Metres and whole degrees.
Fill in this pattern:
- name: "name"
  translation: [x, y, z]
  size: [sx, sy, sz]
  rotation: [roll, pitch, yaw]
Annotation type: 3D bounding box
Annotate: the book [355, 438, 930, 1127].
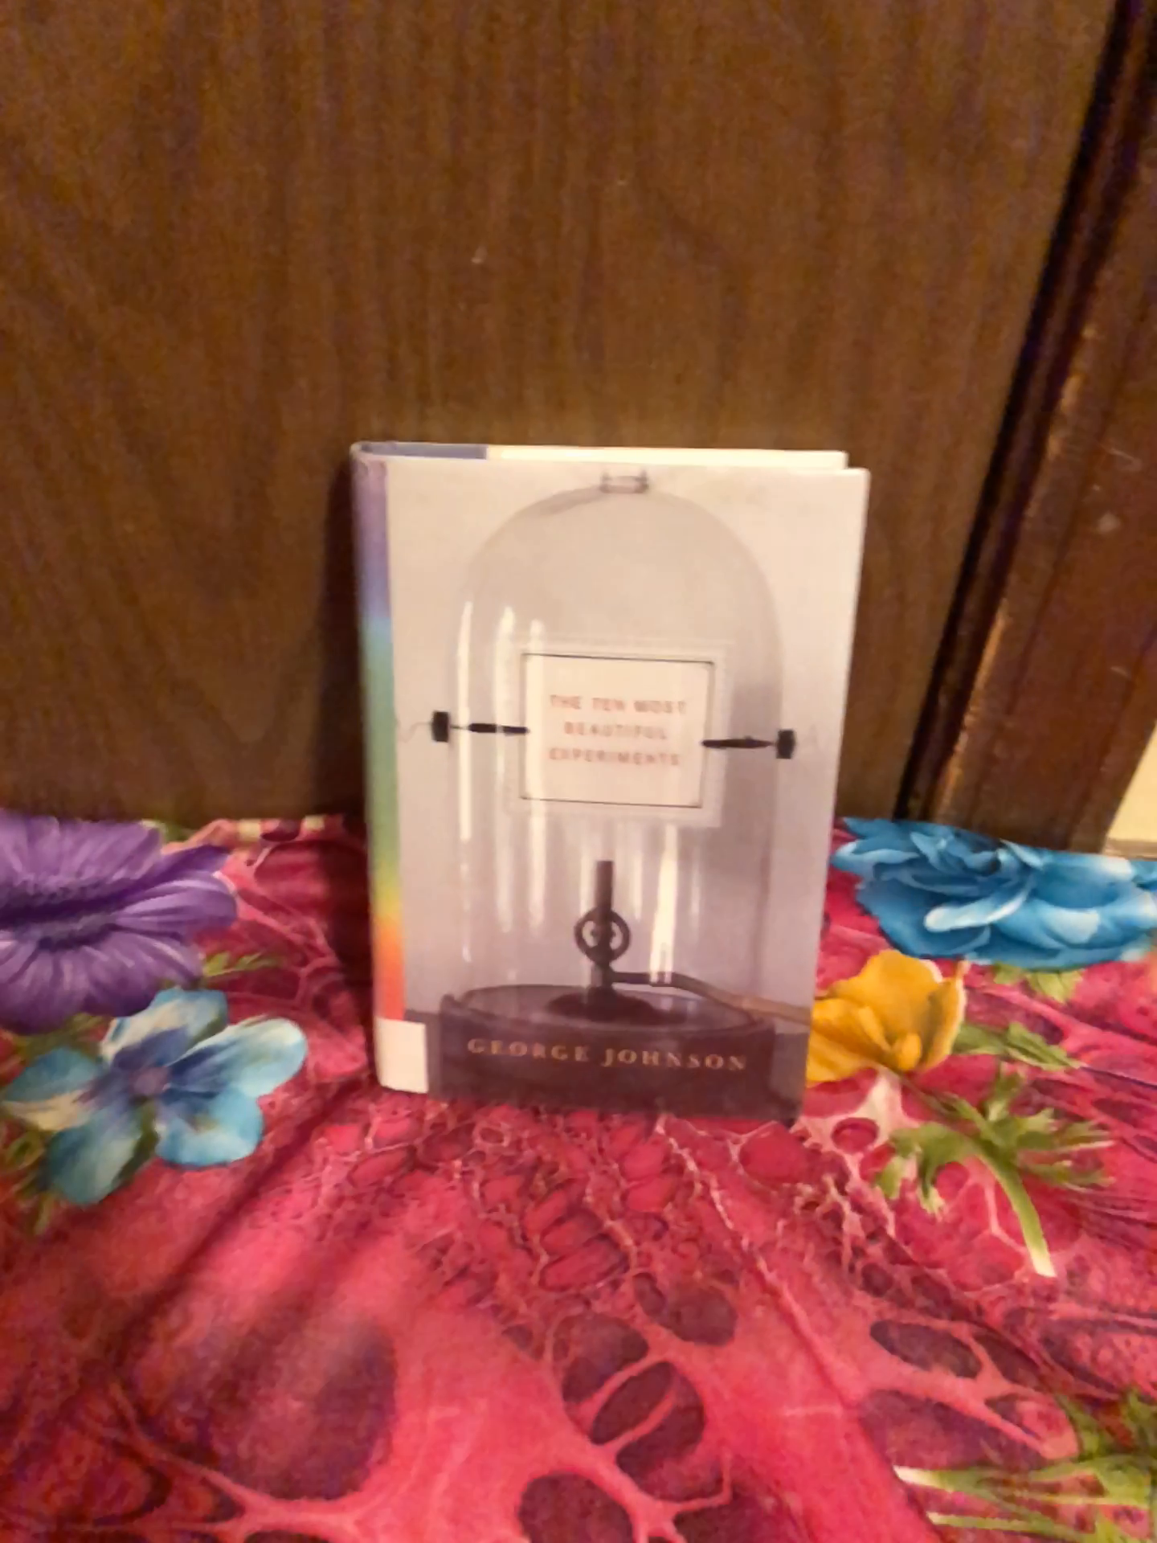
- name: "book"
  translation: [0.013, 0.008, 0.361]
  size: [0.140, 0.190, 0.033]
  rotation: [2, 21, 1]
